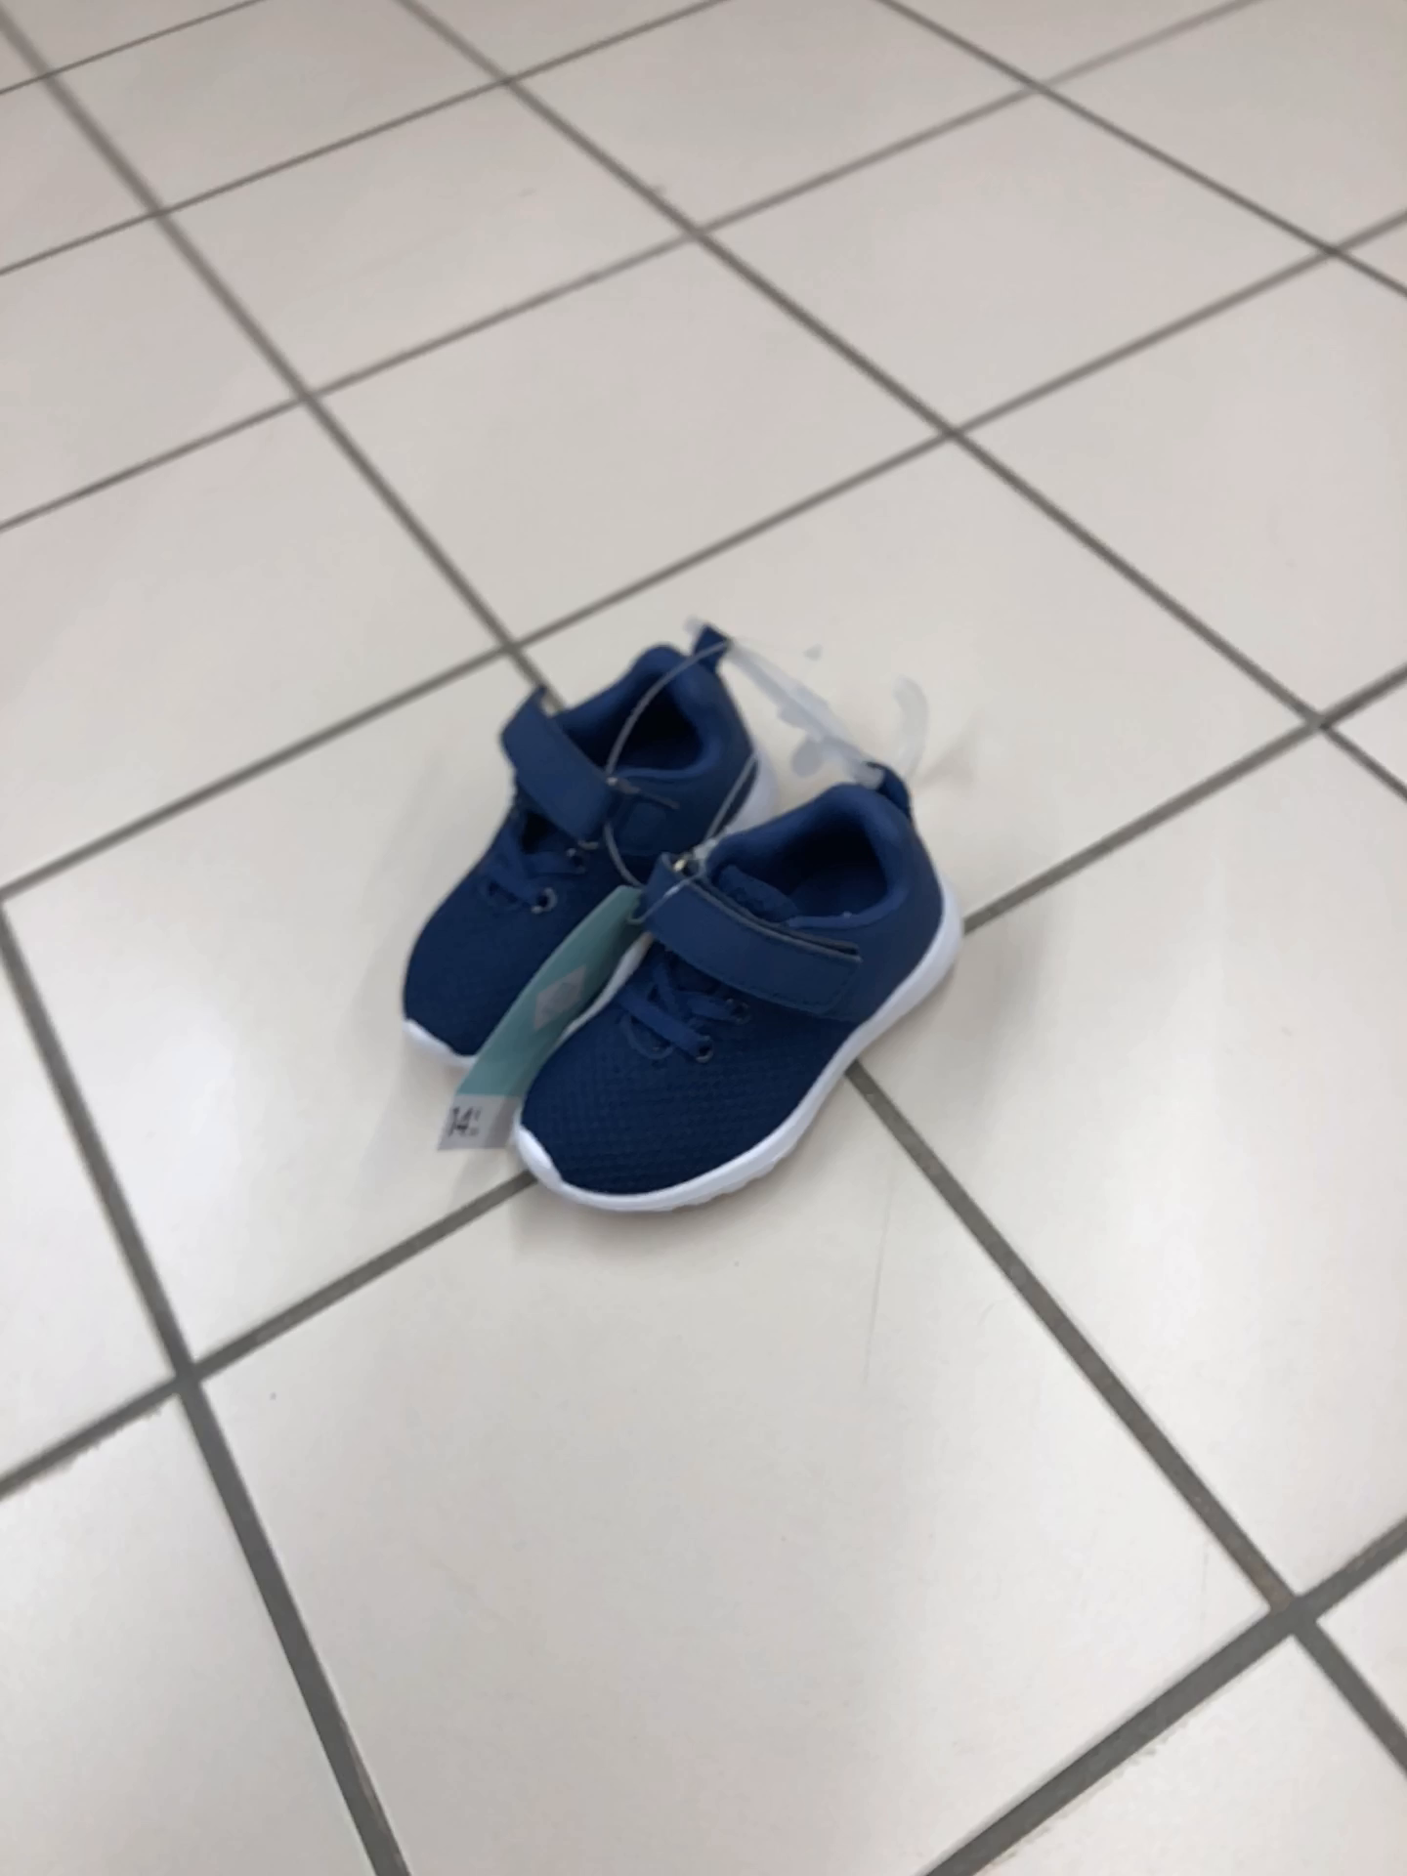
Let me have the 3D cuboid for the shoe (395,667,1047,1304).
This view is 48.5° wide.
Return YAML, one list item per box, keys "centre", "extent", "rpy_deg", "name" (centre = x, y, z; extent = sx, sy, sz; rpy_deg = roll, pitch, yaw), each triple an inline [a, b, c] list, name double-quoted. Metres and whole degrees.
- centre: [0.010, 0.010, 0.445]
  extent: [0.160, 0.074, 0.081]
  rpy_deg: [-36, 57, -19]
  name: "shoe"

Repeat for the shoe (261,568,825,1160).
- centre: [-0.041, -0.026, 0.480]
  extent: [0.074, 0.076, 0.158]
  rpy_deg: [30, 62, 26]
  name: "shoe"
